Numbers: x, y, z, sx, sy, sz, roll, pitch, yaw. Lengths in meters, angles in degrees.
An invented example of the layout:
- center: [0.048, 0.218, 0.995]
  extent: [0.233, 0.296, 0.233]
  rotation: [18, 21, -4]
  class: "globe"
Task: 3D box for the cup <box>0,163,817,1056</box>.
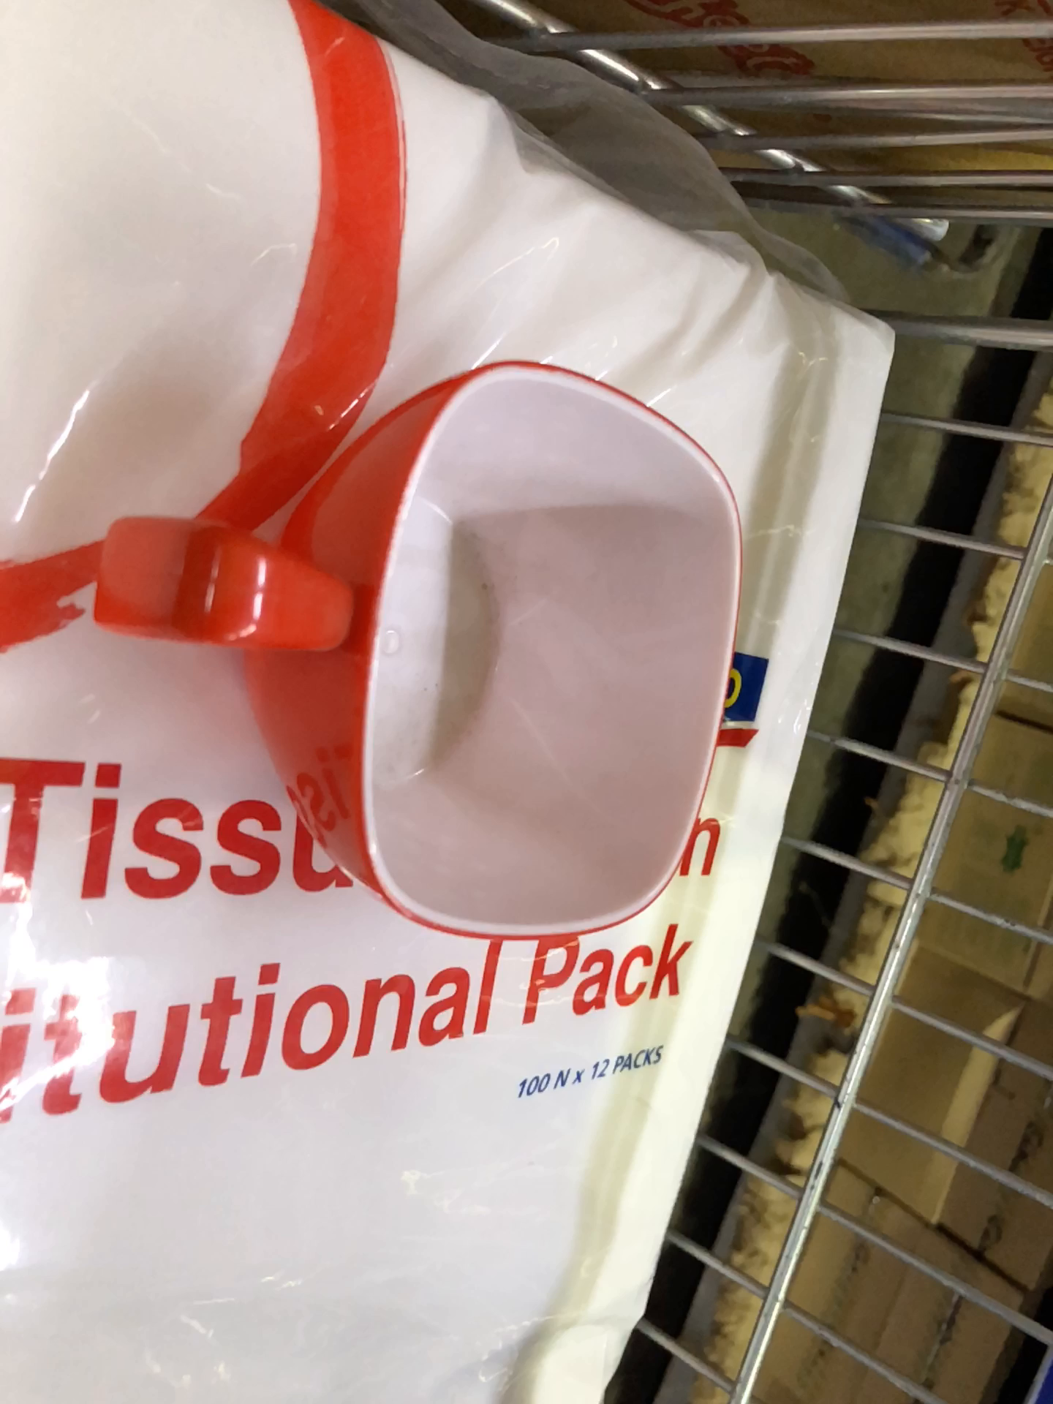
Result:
- center: [-0.020, -0.011, 0.182]
  extent: [0.120, 0.060, 0.090]
  rotation: [7, 102, -53]
  class: "cup"
